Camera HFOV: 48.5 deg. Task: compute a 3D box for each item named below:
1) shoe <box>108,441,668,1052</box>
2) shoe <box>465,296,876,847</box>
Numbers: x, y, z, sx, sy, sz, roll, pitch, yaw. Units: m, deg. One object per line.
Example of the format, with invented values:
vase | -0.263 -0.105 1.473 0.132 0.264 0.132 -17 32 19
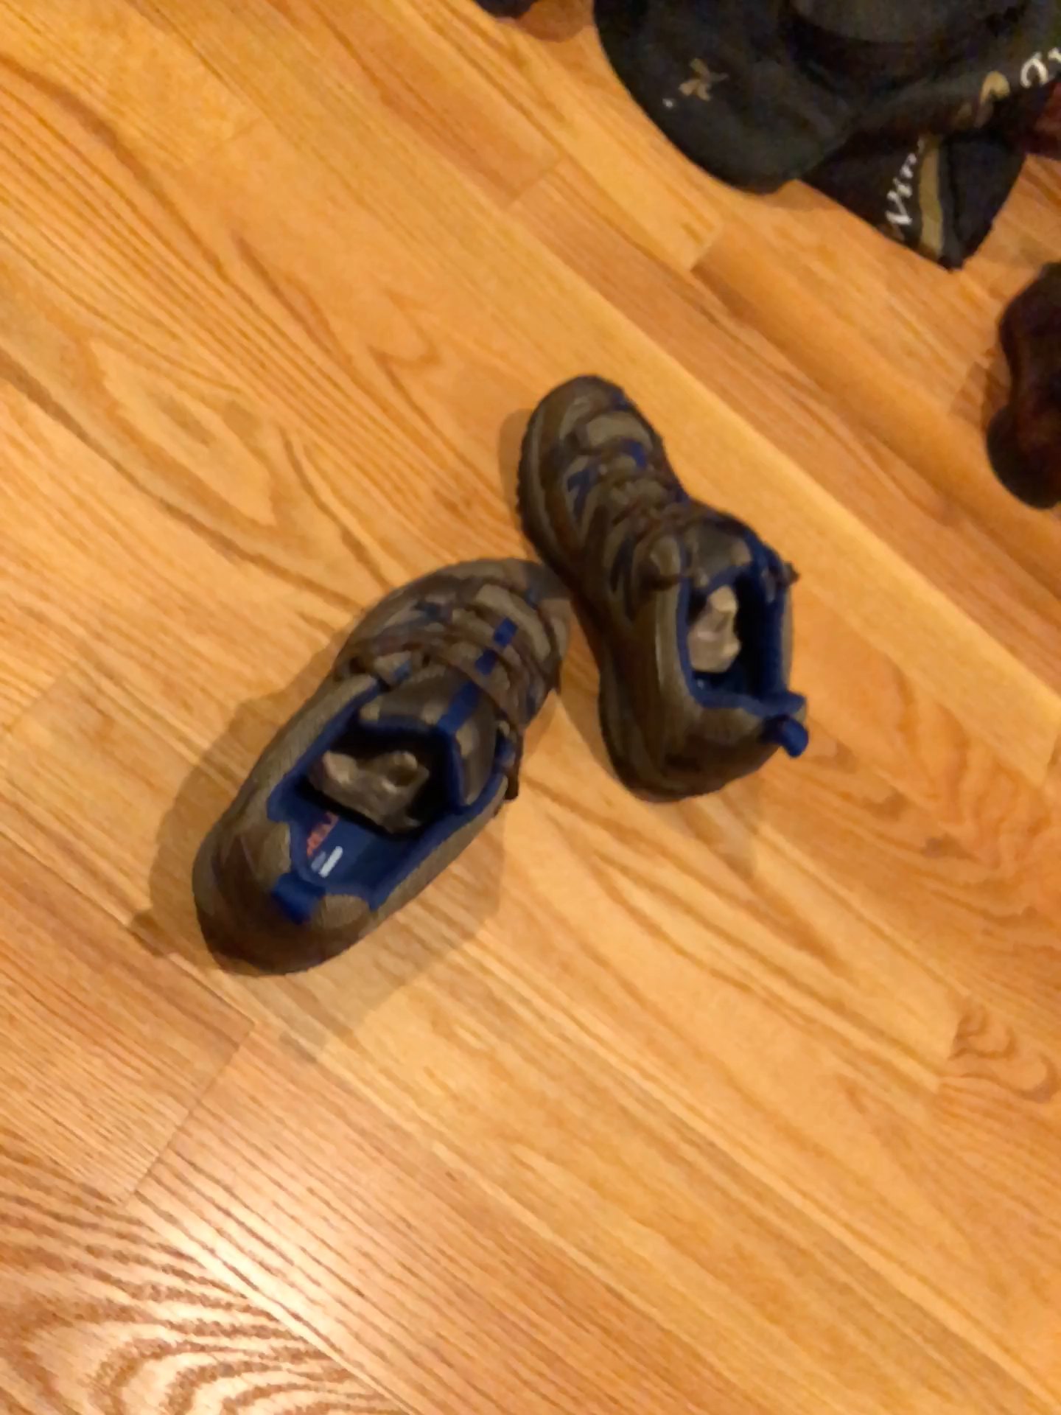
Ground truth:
shoe | -0.053 0.011 0.506 0.094 0.106 0.241 40 54 -6
shoe | 0.062 -0.071 0.596 0.097 0.094 0.252 -7 71 -31
